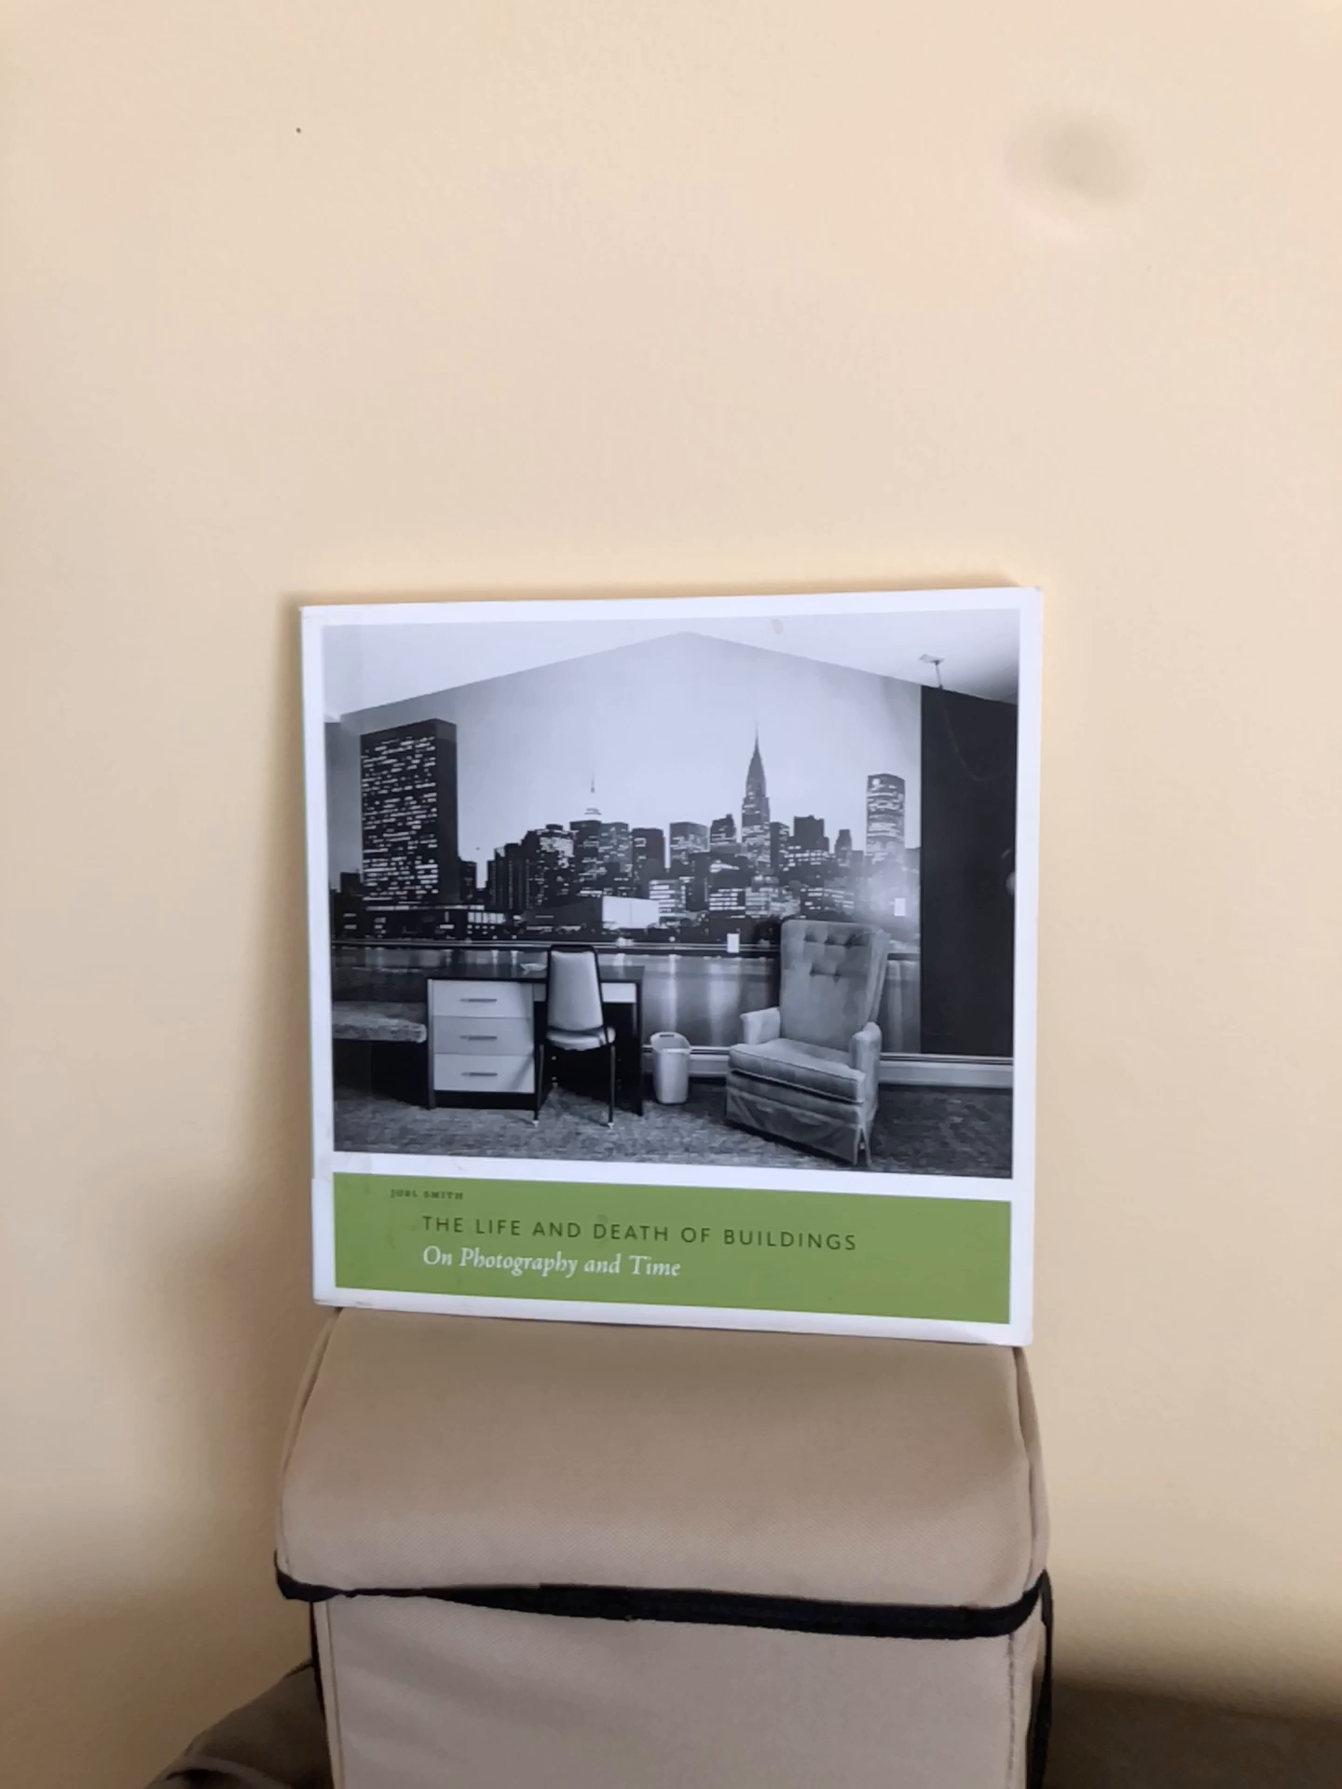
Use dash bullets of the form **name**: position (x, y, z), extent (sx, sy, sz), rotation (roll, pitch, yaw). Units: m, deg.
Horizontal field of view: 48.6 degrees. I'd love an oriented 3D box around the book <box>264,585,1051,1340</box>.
- **book**: position (-0.007, 0.017, 0.421), extent (0.216, 0.204, 0.020), rotation (1, 3, 6)
